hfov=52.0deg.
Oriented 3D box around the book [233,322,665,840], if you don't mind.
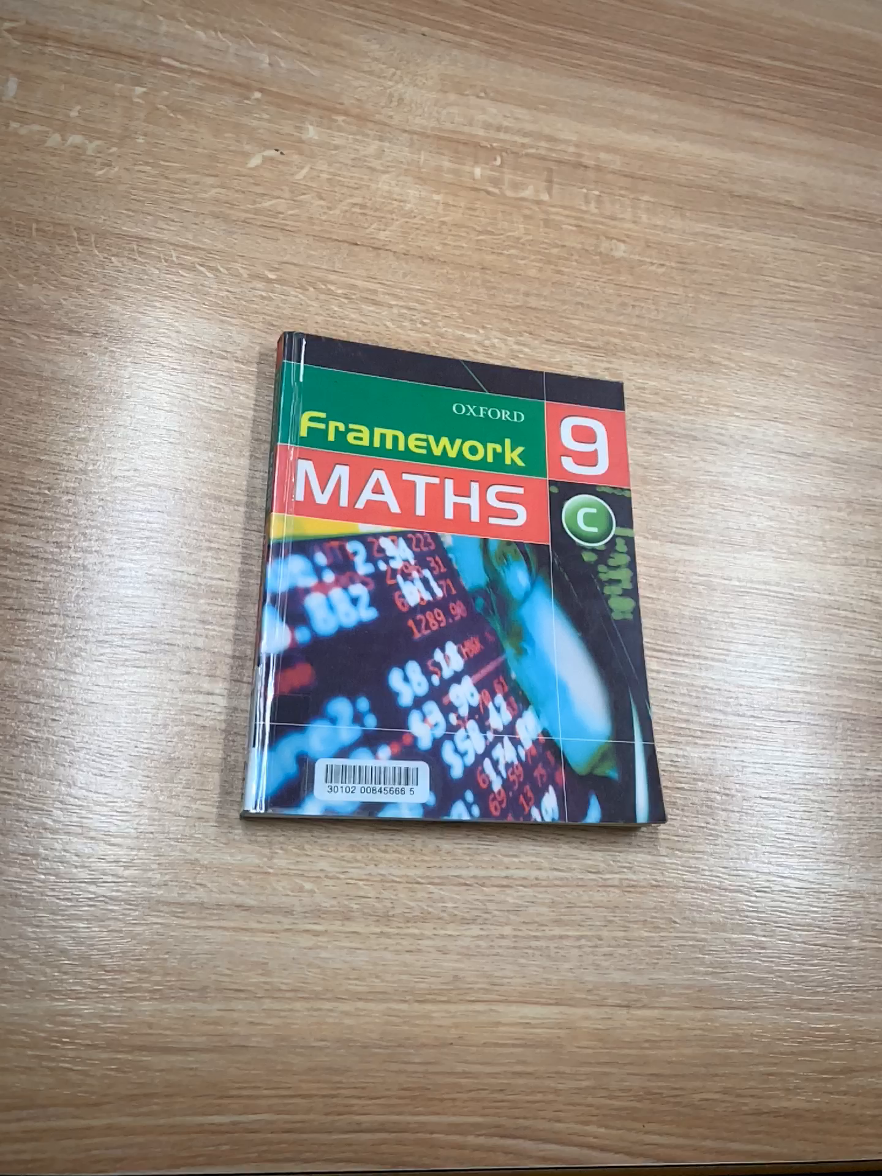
[{"bbox_3d":[0.006,-0.006,0.437,0.190,0.020,0.244,5,69,-14],"label":"book"}]
